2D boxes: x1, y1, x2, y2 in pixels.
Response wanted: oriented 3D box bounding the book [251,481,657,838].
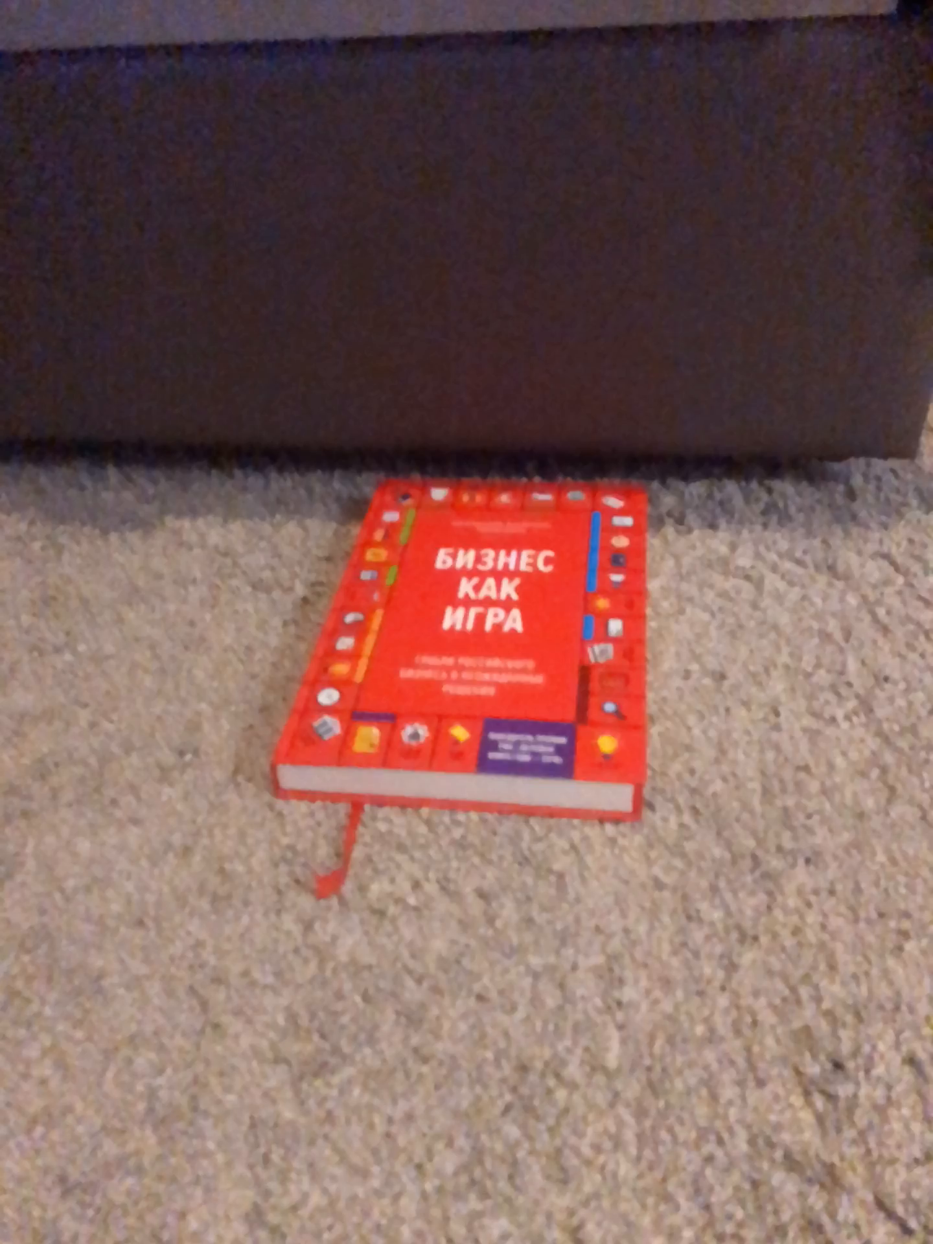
[{"bbox_3d":[0.009,0.003,0.547,0.179,0.033,0.248,2,39,8],"label":"book"}]
